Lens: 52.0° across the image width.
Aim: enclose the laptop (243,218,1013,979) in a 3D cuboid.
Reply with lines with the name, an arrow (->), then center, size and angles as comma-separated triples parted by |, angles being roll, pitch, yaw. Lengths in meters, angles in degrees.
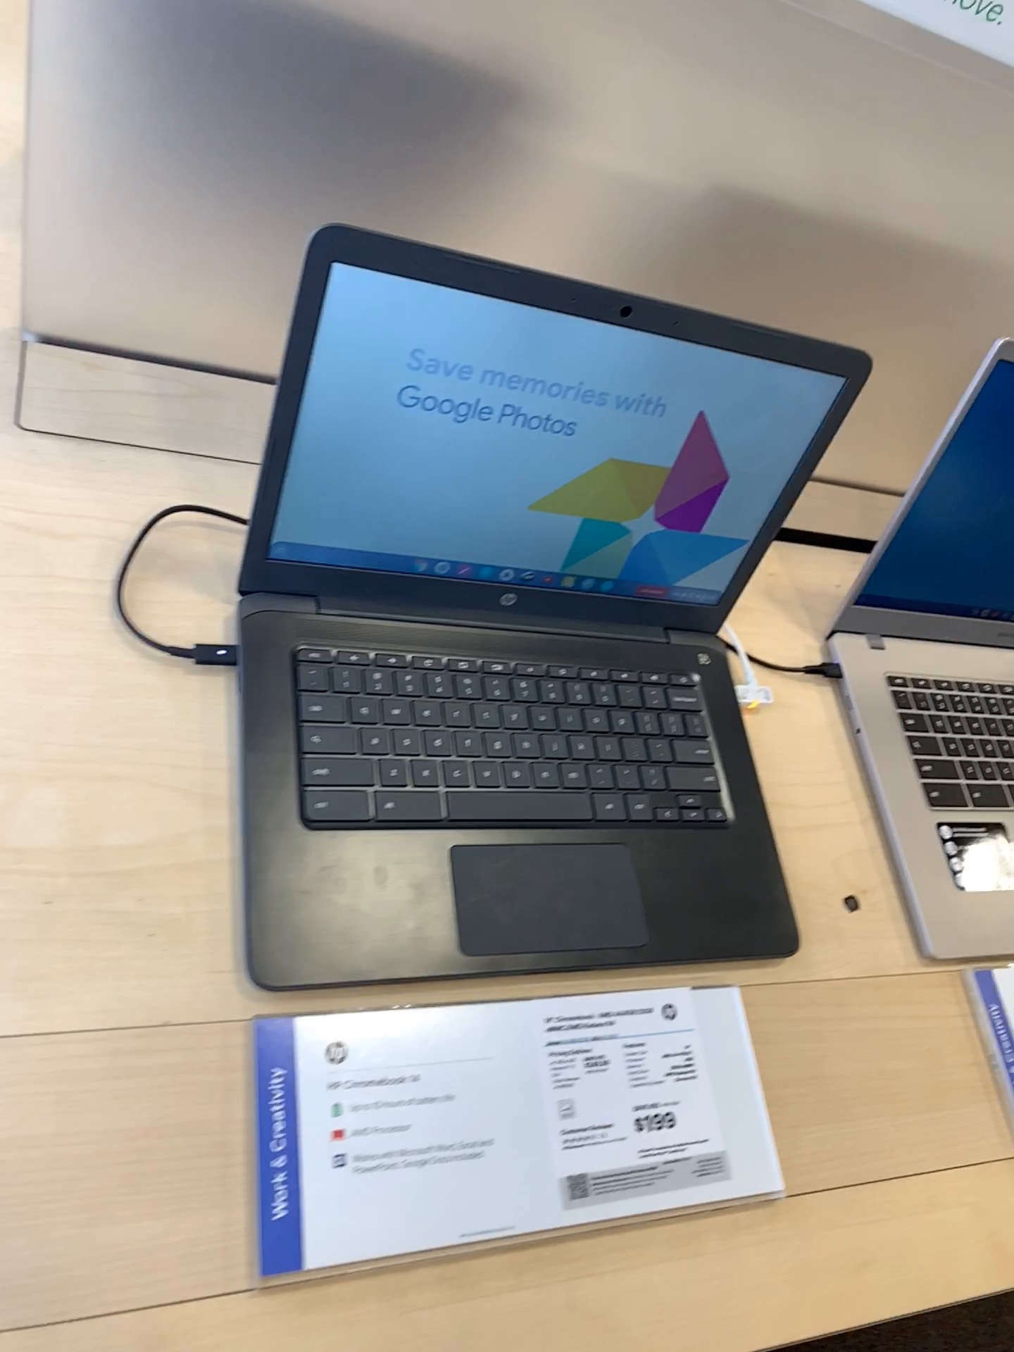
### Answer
laptop -> 0.044, -0.023, 0.547 | 0.320, 0.199, 0.292 | 4, 61, -23
